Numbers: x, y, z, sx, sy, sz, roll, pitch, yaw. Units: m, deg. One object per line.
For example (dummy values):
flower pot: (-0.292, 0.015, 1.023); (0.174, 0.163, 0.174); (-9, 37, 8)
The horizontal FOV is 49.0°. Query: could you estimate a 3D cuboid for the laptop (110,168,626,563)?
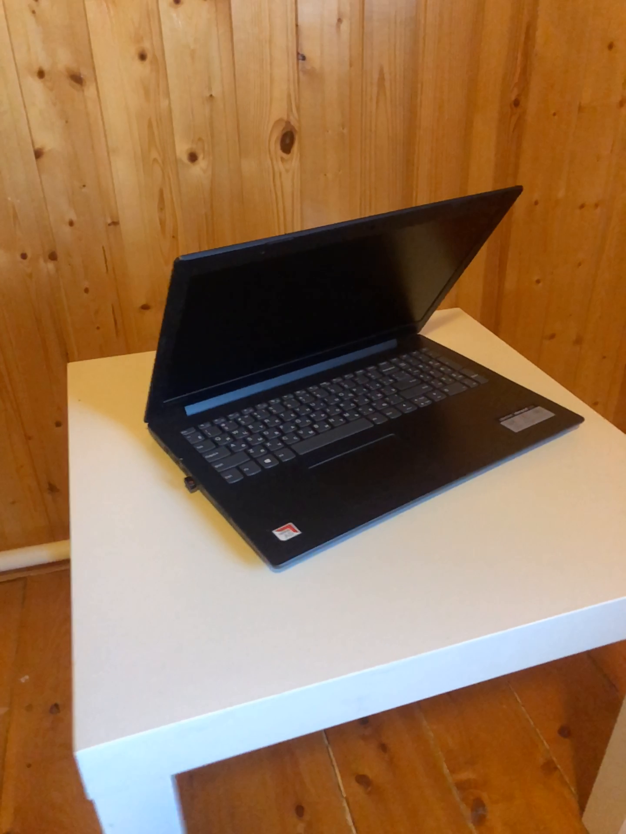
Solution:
laptop: (0.051, -0.085, 0.650); (0.373, 0.206, 0.251); (-20, 35, -28)
